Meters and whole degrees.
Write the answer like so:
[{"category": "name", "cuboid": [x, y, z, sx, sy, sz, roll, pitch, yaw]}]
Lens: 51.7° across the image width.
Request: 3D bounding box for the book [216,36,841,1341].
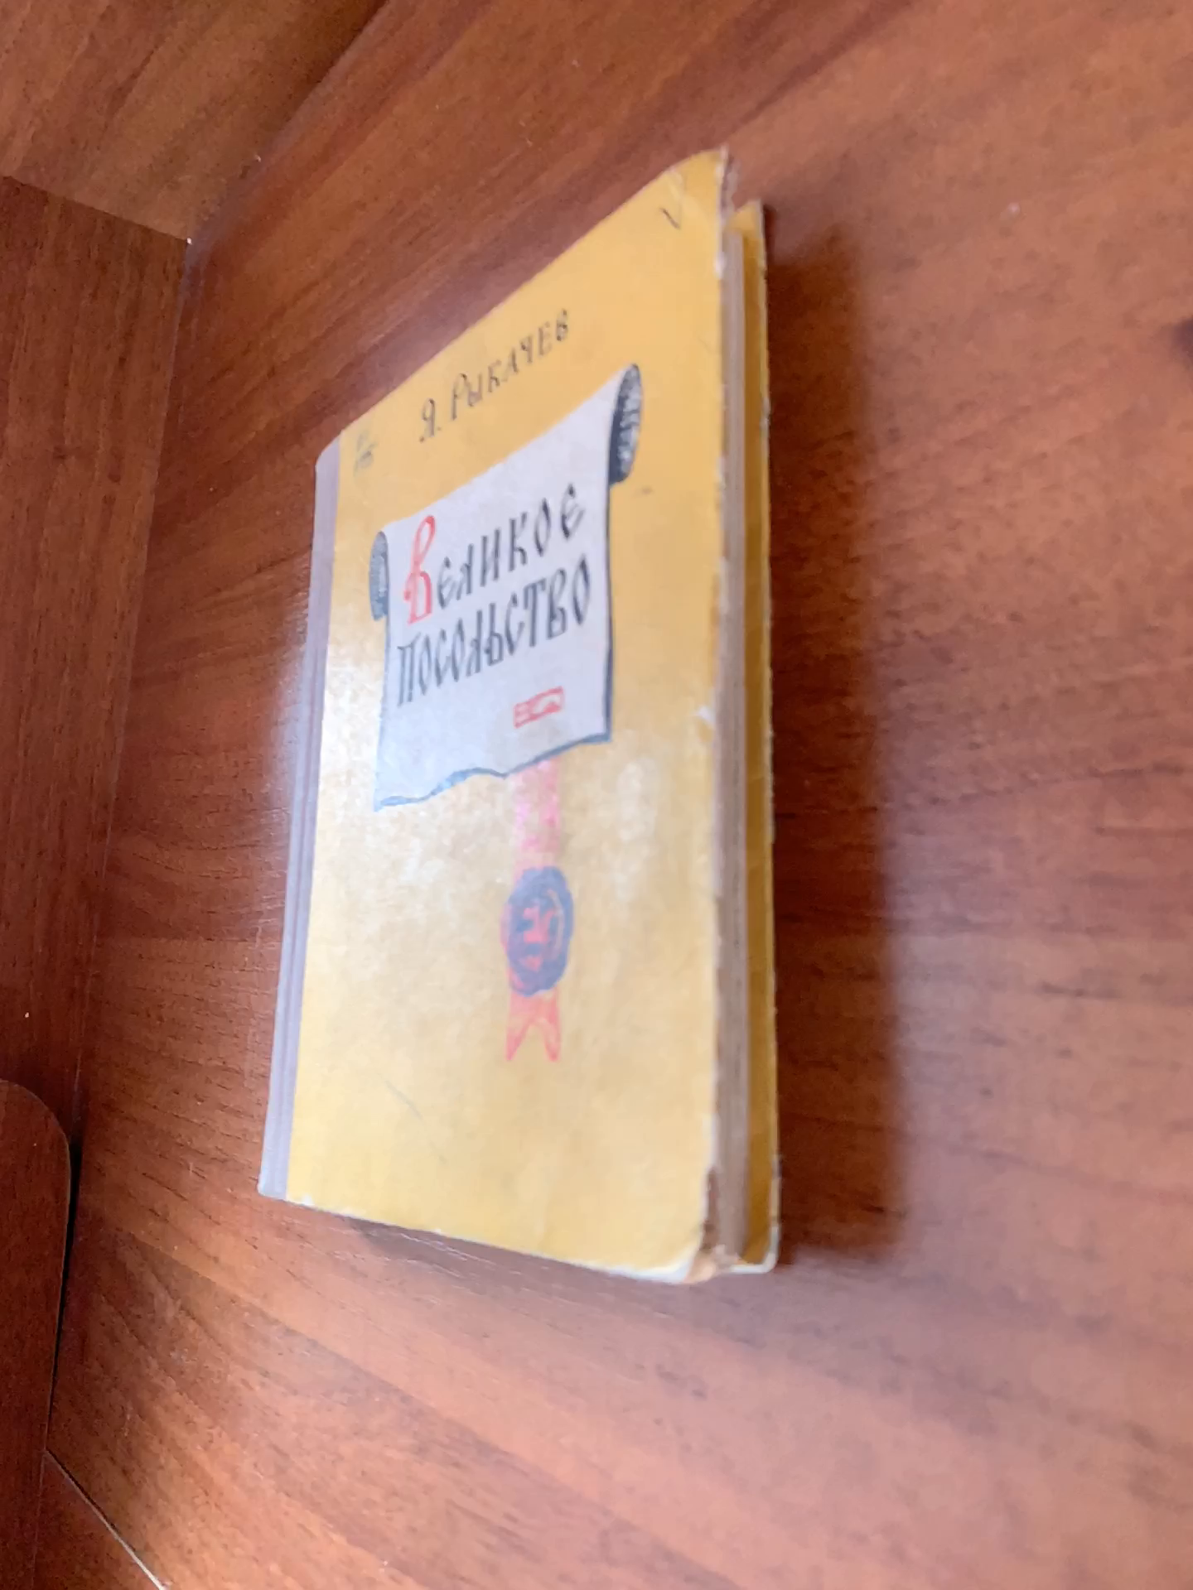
[{"category": "book", "cuboid": [-0.021, -0.012, 0.217, 0.142, 0.023, 0.170, -11, 73, 50]}]
